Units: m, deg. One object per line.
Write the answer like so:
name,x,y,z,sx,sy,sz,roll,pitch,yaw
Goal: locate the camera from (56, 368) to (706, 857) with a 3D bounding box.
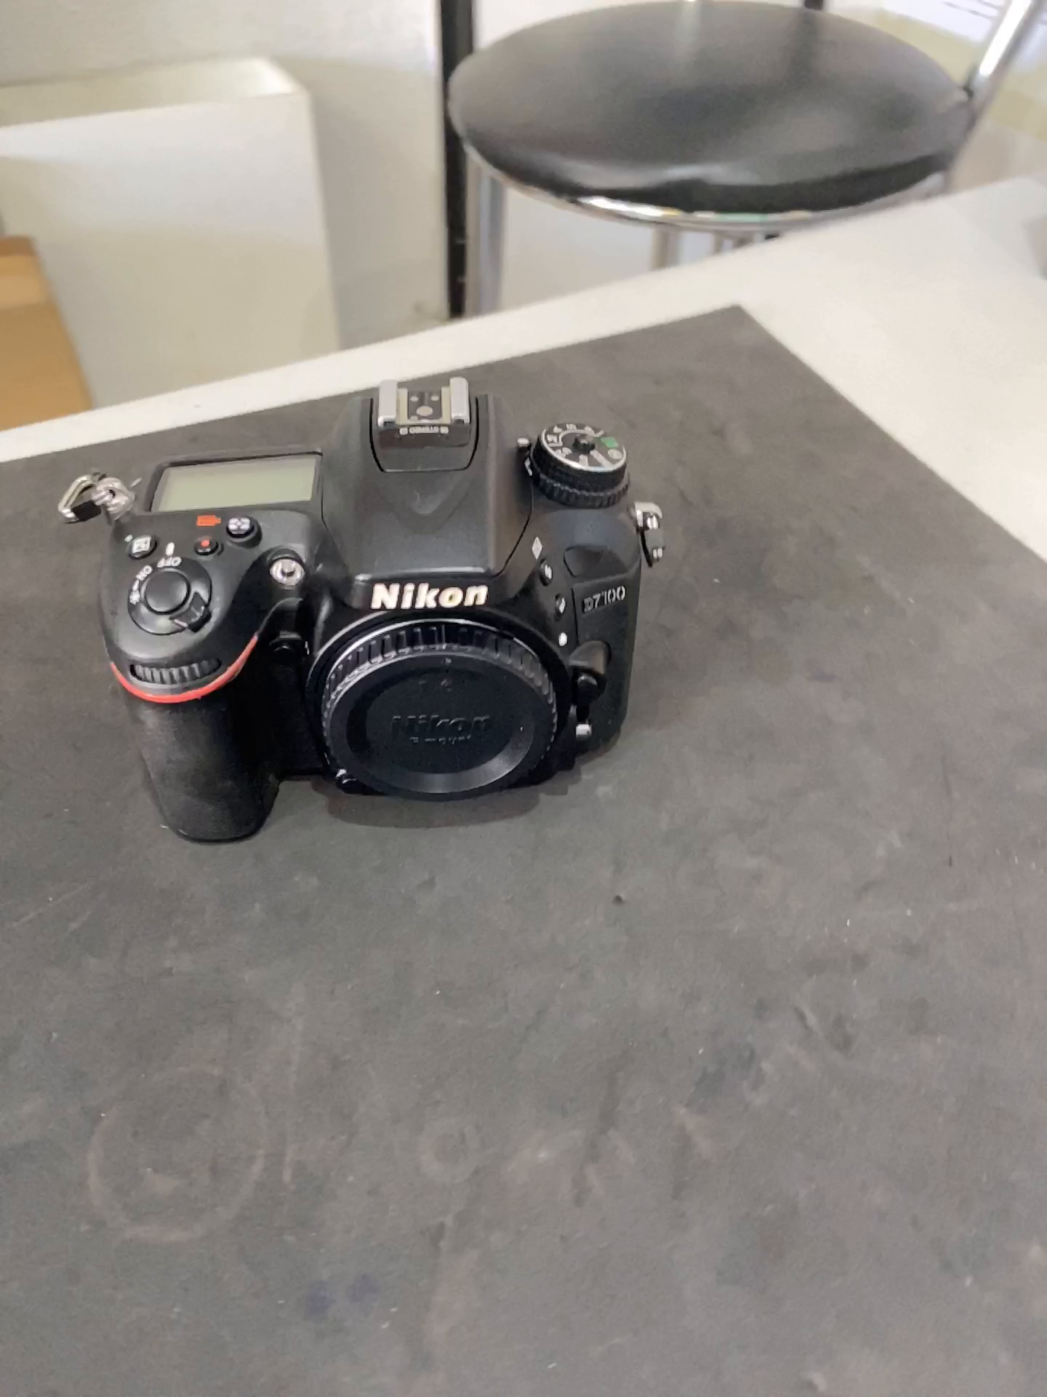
camera,-0.034,-0.024,0.294,0.140,0.092,0.078,-5,45,-5
